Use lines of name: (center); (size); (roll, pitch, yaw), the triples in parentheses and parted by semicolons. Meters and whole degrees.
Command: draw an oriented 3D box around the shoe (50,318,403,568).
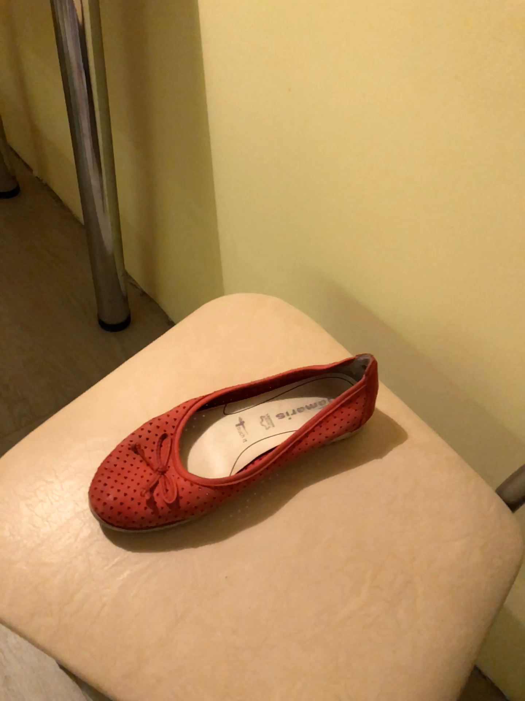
shoe: (-0.026, 0.066, 0.467); (0.251, 0.080, 0.100); (-16, 55, -22)
